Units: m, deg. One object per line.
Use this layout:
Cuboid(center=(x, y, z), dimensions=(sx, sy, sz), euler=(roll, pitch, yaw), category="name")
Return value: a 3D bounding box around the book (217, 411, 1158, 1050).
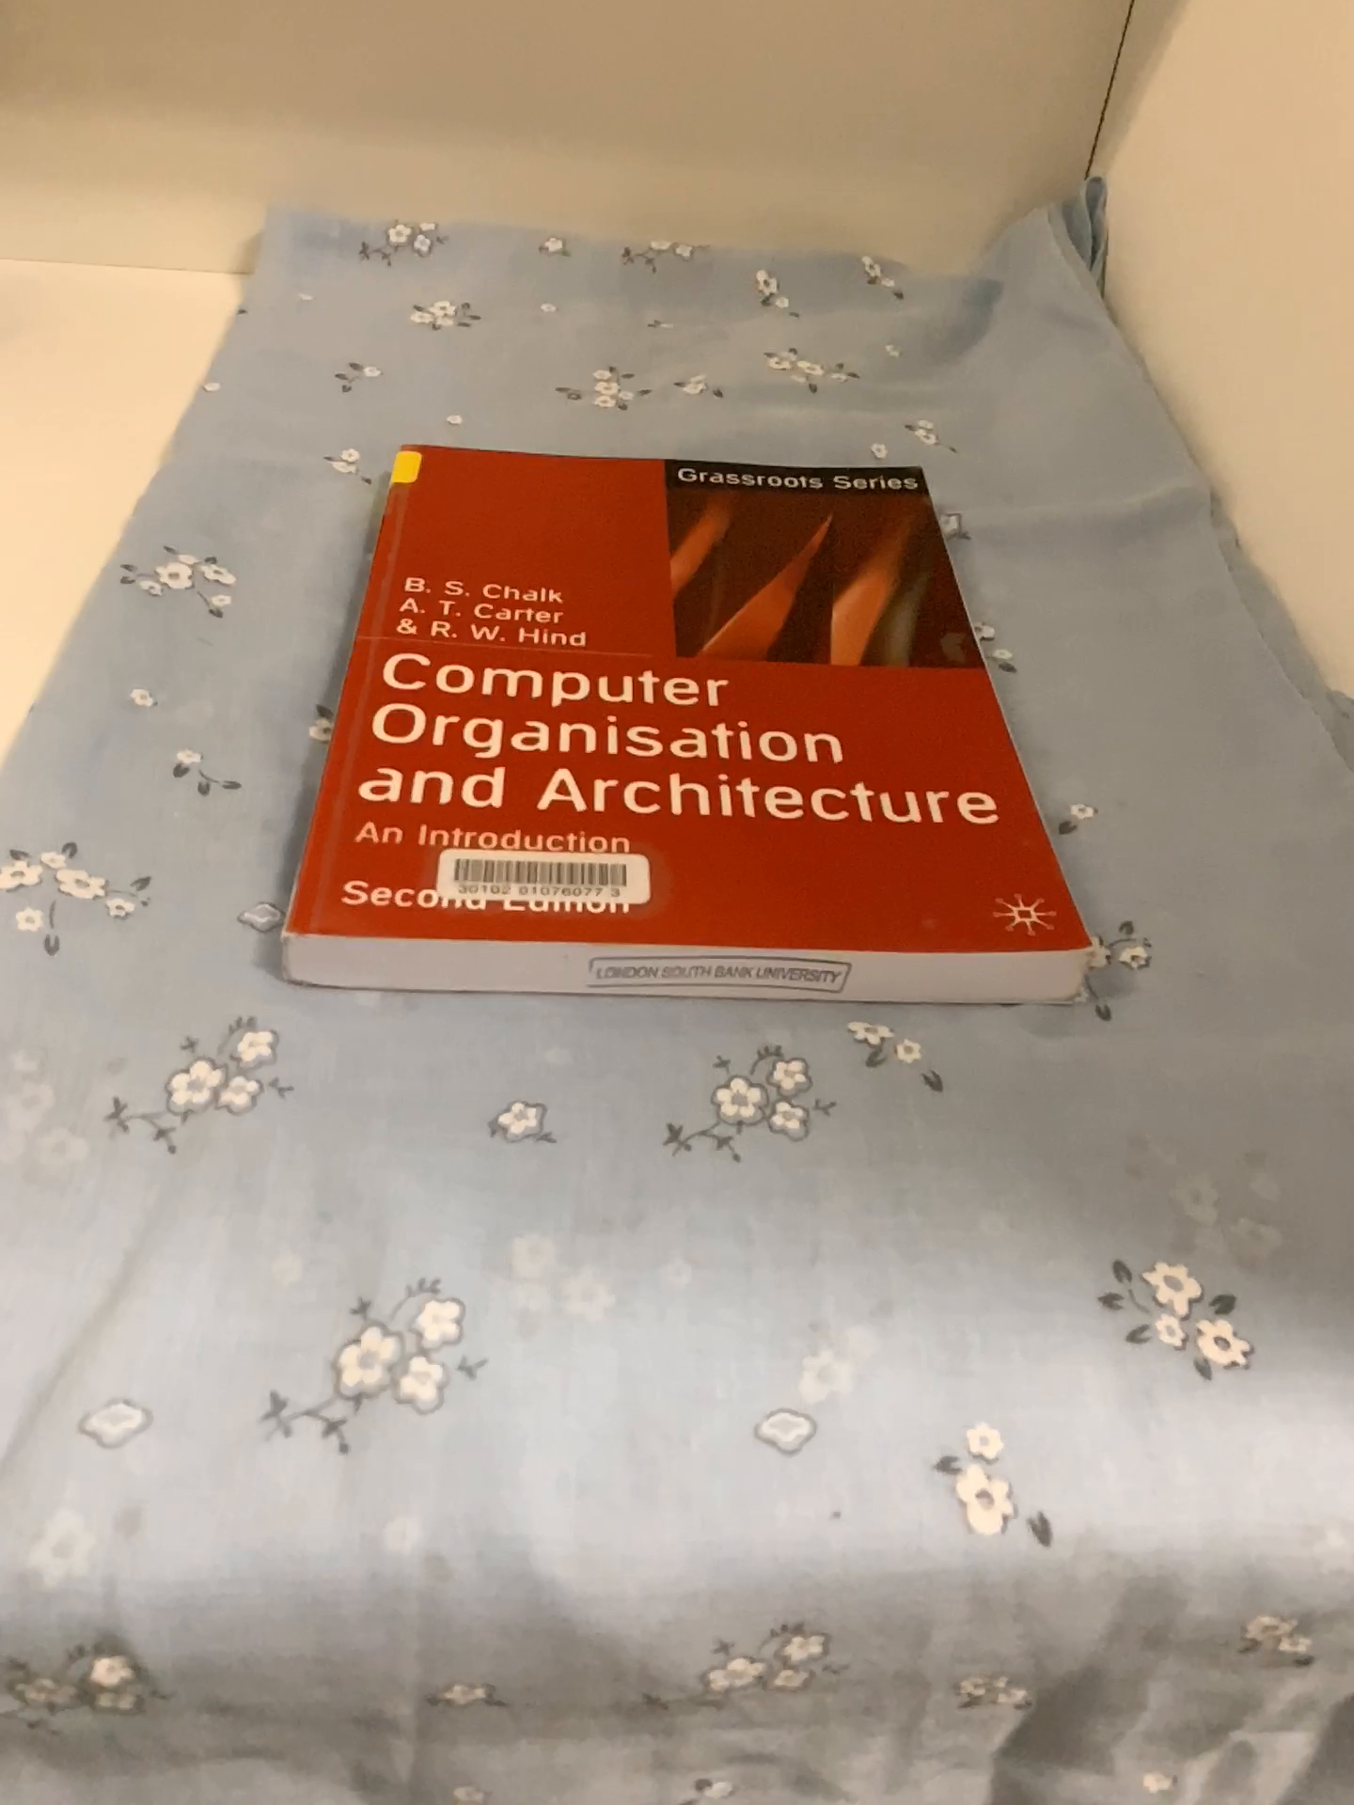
Cuboid(center=(-0.002, -0.070, 0.417), dimensions=(0.210, 0.030, 0.273), euler=(2, 43, -5), category="book")
